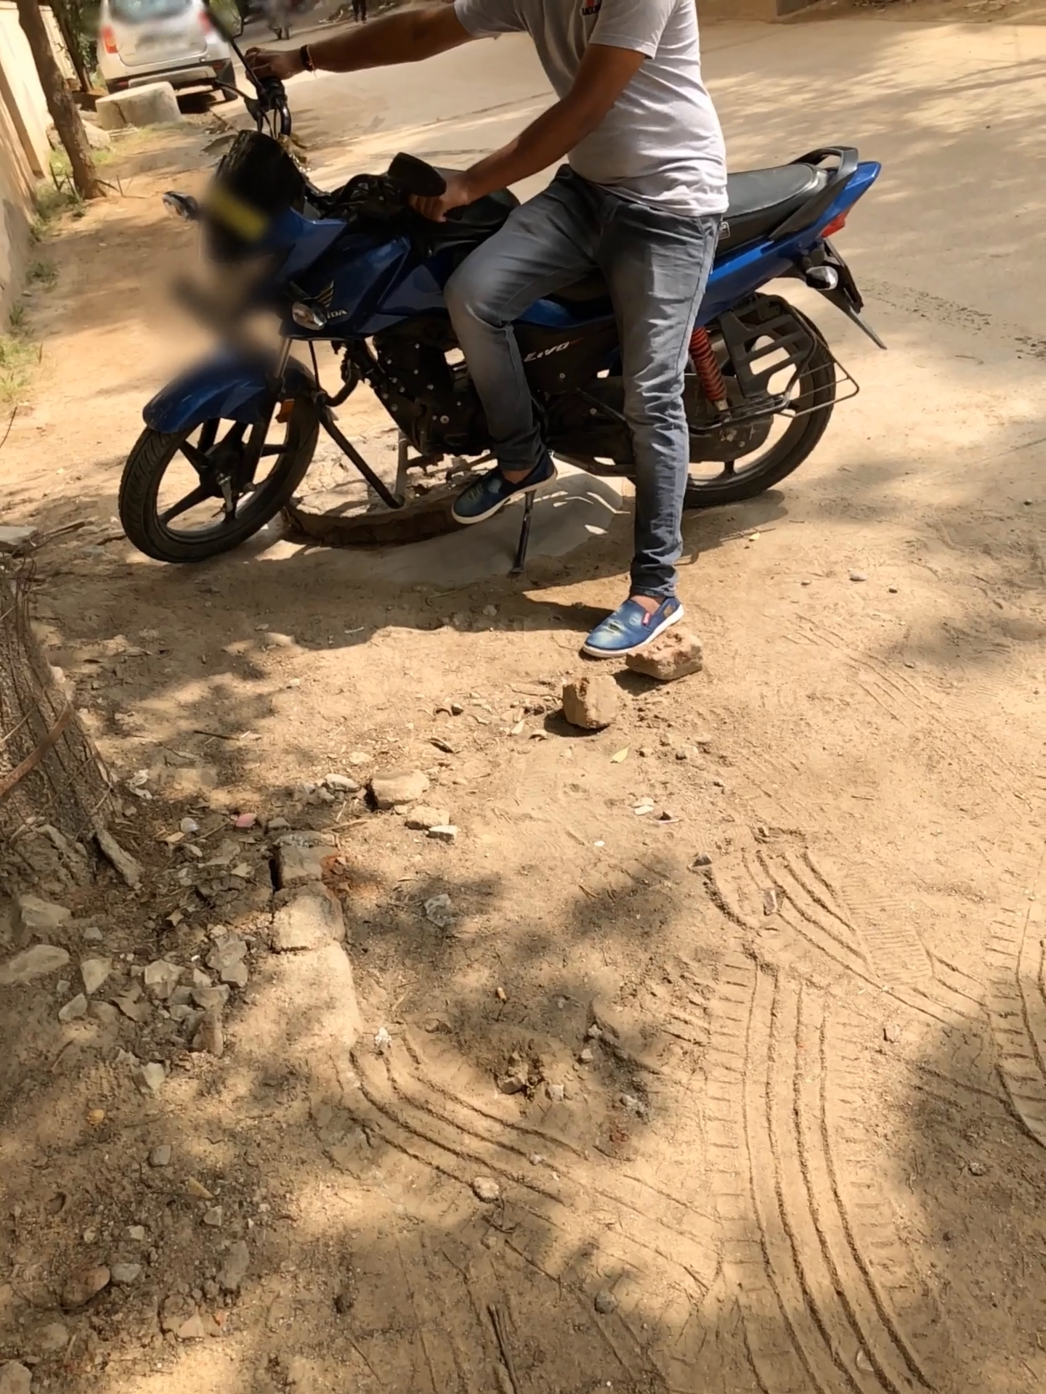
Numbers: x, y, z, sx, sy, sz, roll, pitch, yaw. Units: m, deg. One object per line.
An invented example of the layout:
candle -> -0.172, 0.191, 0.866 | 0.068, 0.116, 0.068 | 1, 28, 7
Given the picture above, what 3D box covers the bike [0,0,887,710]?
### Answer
bike -> -0.172, -0.840, 2.613 | 1.783, 1.242, 0.744 | -11, 33, 0
